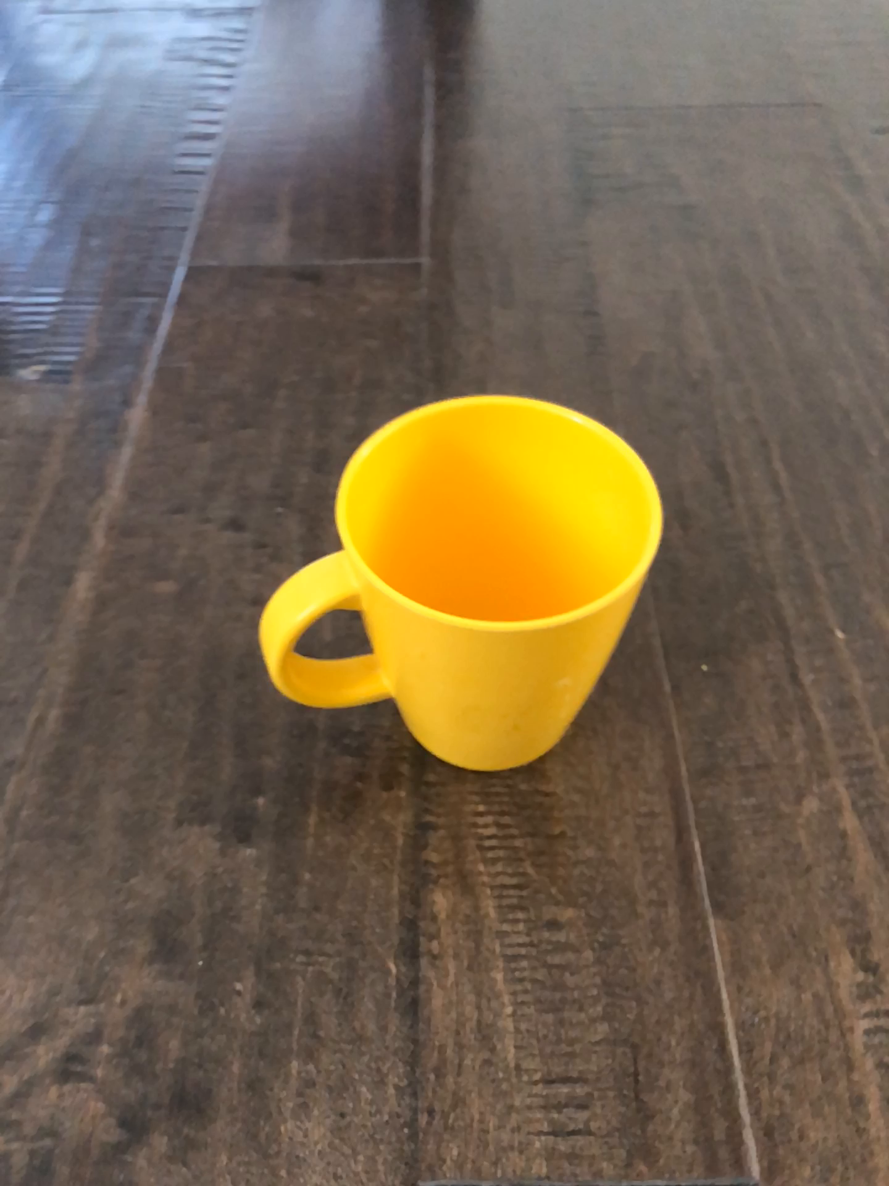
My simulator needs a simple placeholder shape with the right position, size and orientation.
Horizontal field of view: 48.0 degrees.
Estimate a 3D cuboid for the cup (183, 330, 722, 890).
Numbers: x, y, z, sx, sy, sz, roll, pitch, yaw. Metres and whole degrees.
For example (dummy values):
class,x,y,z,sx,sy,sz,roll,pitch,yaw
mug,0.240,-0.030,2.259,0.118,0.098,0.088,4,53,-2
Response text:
class,x,y,z,sx,sy,sz,roll,pitch,yaw
cup,0.001,0.003,0.297,0.110,0.099,0.090,-24,53,-19
